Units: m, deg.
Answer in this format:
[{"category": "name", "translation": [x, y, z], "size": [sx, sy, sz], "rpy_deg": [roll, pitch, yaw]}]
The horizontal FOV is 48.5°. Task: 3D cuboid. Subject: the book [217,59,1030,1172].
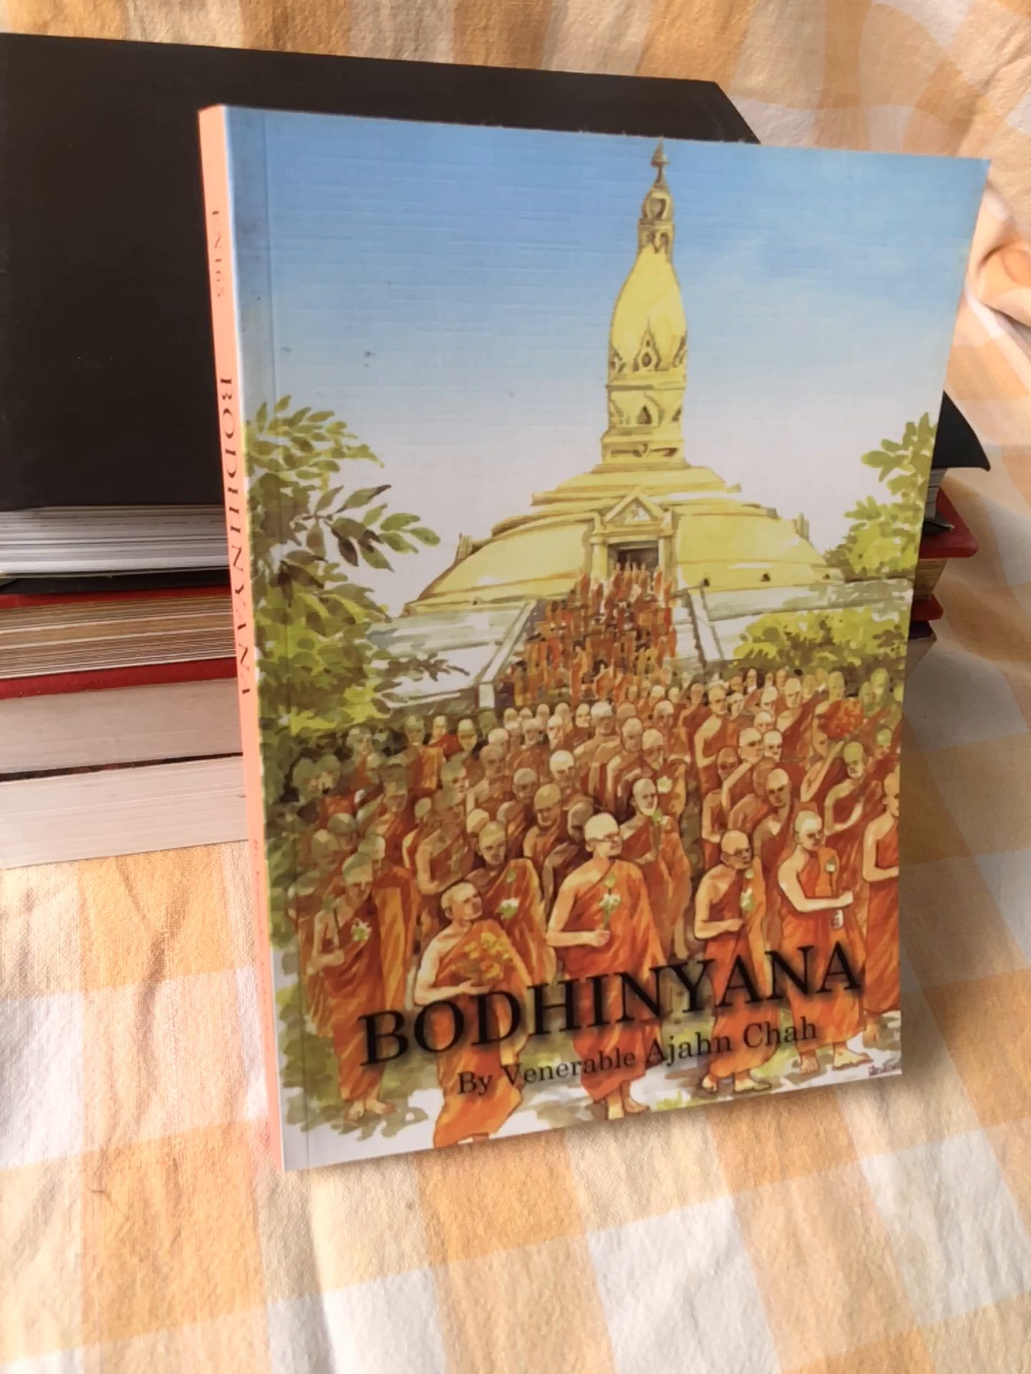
[{"category": "book", "translation": [0.021, -0.008, 0.235], "size": [0.150, 0.200, 0.030], "rpy_deg": [-3, 15, -15]}]
